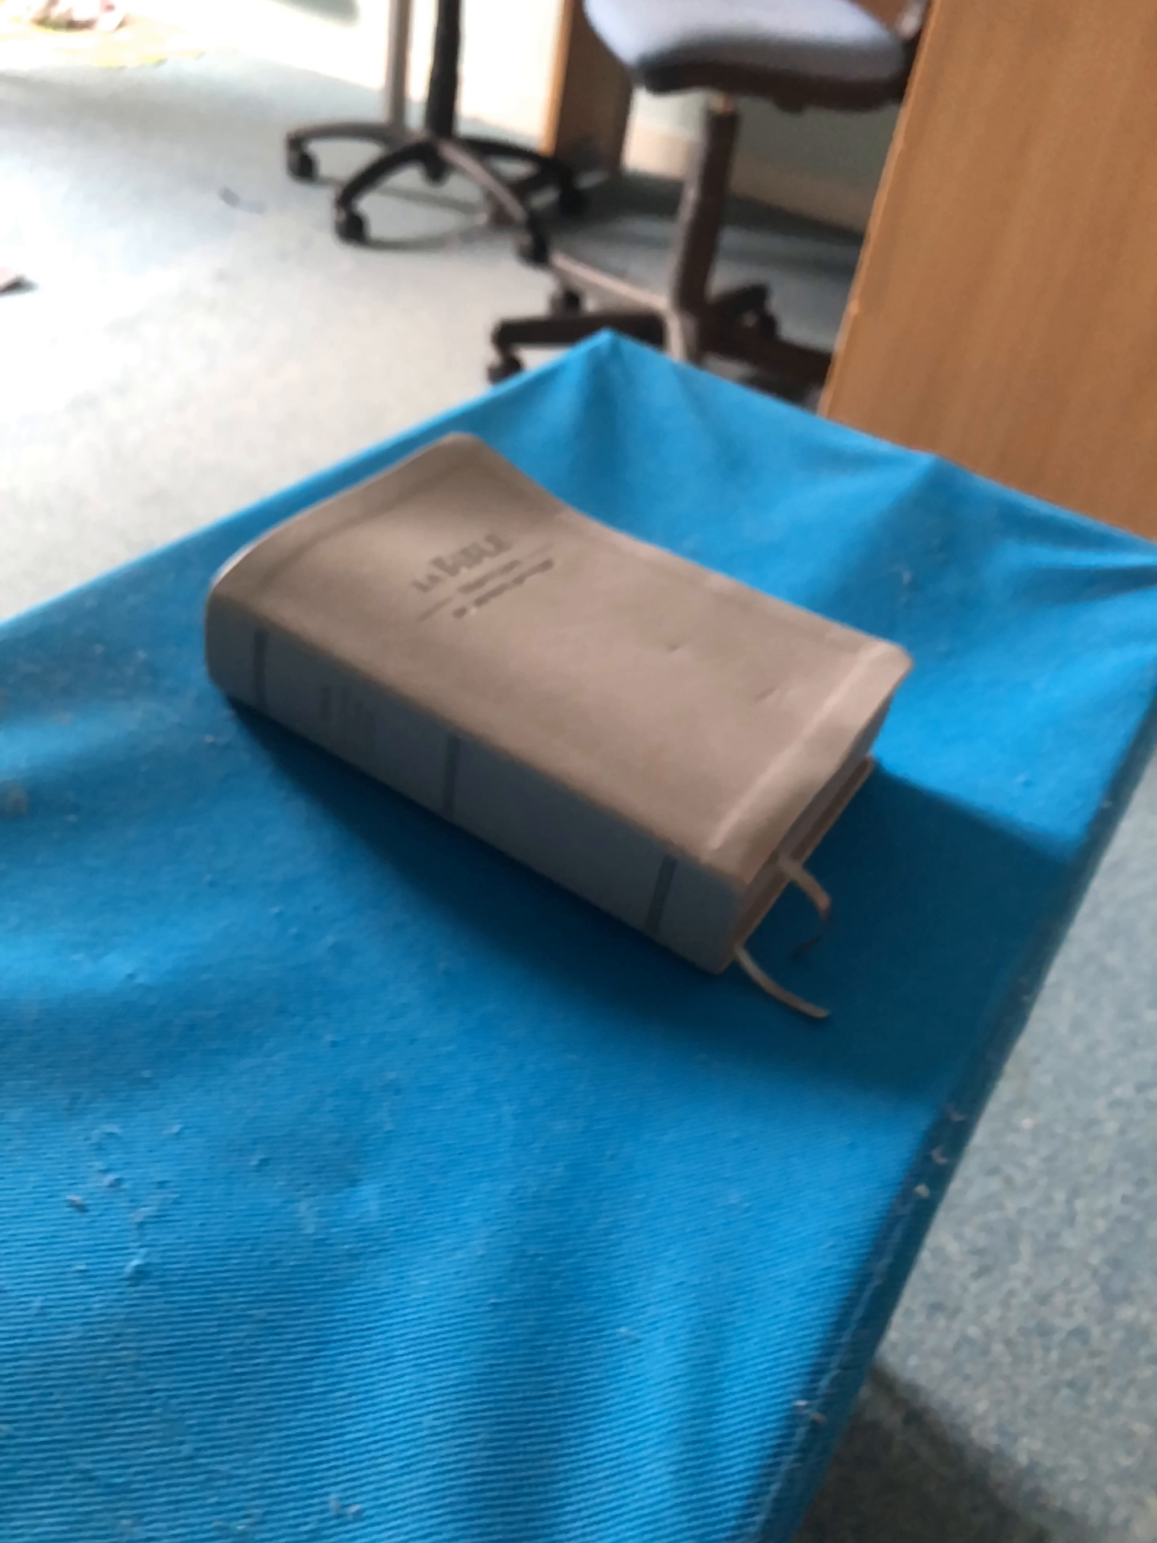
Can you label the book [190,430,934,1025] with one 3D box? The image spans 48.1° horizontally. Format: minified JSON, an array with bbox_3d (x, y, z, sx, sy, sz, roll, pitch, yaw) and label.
[{"bbox_3d":[-0.005,-0.025,0.390,0.180,0.051,0.122,29,44,17],"label":"book"}]
